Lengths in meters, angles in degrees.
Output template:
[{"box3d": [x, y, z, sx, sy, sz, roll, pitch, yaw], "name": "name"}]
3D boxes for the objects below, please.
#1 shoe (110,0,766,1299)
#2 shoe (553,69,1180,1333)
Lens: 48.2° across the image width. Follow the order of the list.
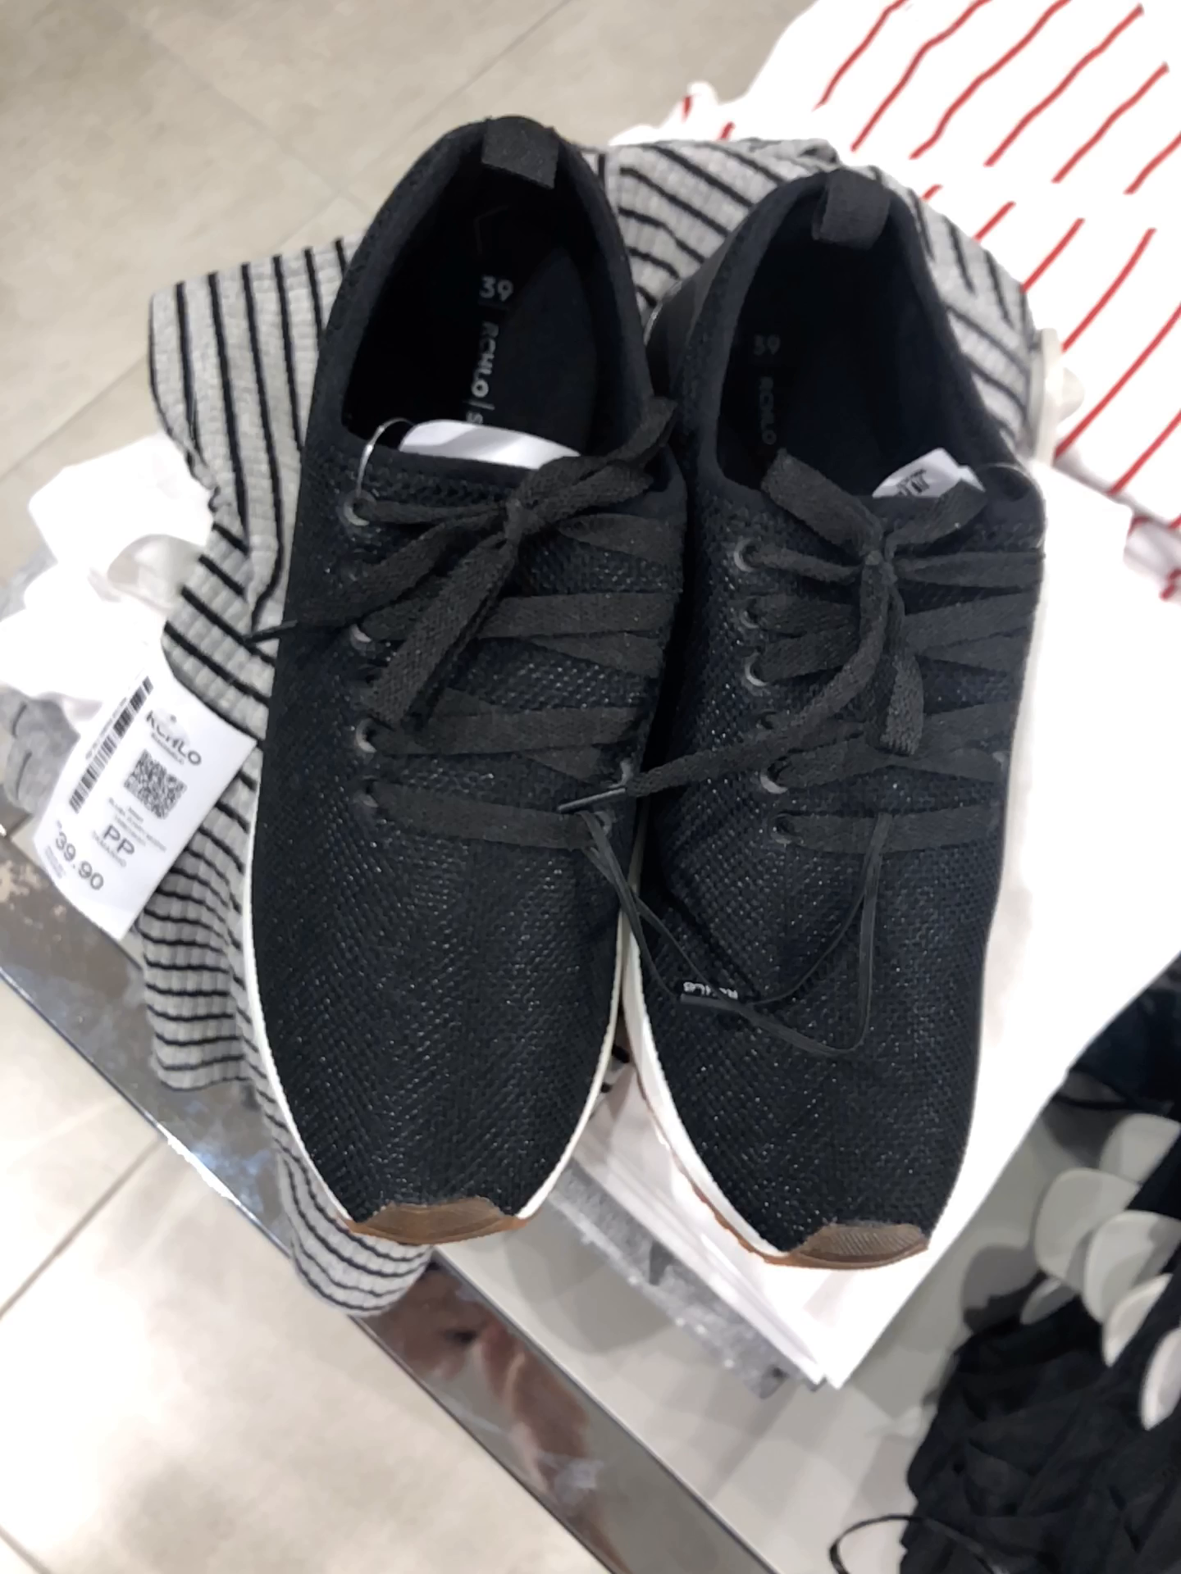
[{"box3d": [-0.026, -0.030, 0.307, 0.100, 0.120, 0.260, 5, 76, -5], "name": "shoe"}, {"box3d": [0.052, -0.019, 0.321, 0.100, 0.120, 0.270, -1, 70, -7], "name": "shoe"}]
